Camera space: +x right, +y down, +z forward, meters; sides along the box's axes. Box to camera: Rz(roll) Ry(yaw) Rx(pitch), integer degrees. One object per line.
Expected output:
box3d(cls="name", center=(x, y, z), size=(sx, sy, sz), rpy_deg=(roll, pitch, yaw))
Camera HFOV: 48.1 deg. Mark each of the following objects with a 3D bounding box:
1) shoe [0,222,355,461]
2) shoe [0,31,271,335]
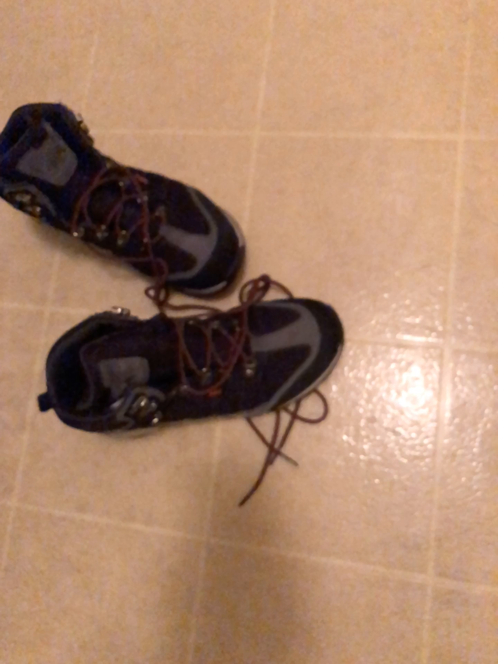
box3d(cls="shoe", center=(-0.065, 0.026, 0.520), size=(0.299, 0.196, 0.116), rpy_deg=(-14, 78, 9))
box3d(cls="shoe", center=(-0.158, -0.137, 0.567), size=(0.309, 0.196, 0.126), rpy_deg=(28, 87, 15))
